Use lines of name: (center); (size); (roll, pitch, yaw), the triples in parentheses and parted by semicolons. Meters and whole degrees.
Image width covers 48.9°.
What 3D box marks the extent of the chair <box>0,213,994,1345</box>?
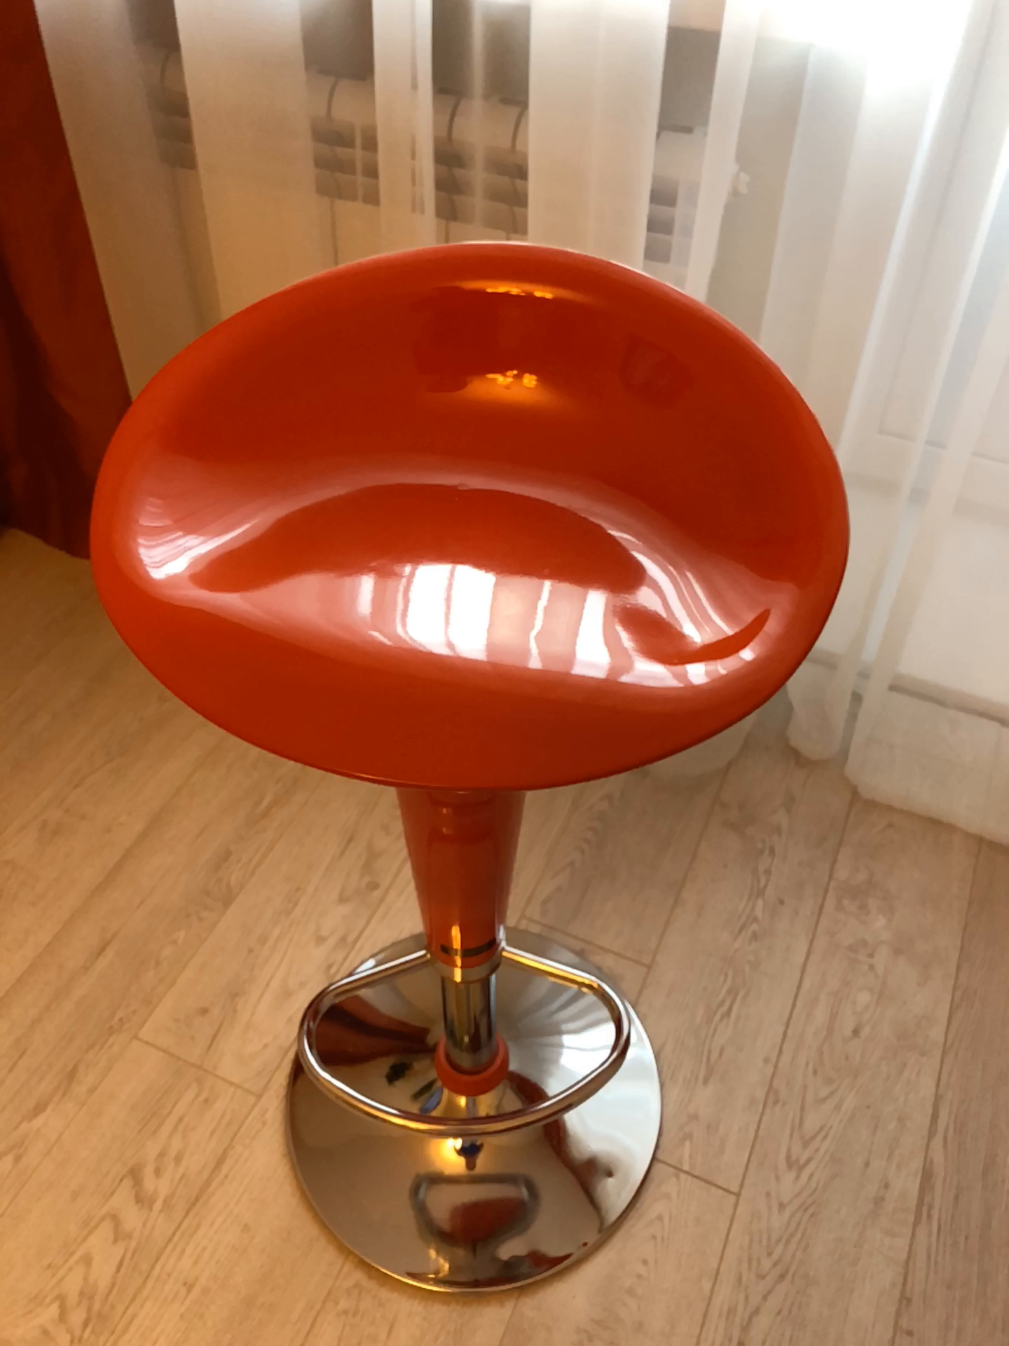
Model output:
chair: (-0.045, 0.118, 0.821); (0.410, 0.725, 0.423); (-6, 44, -7)
